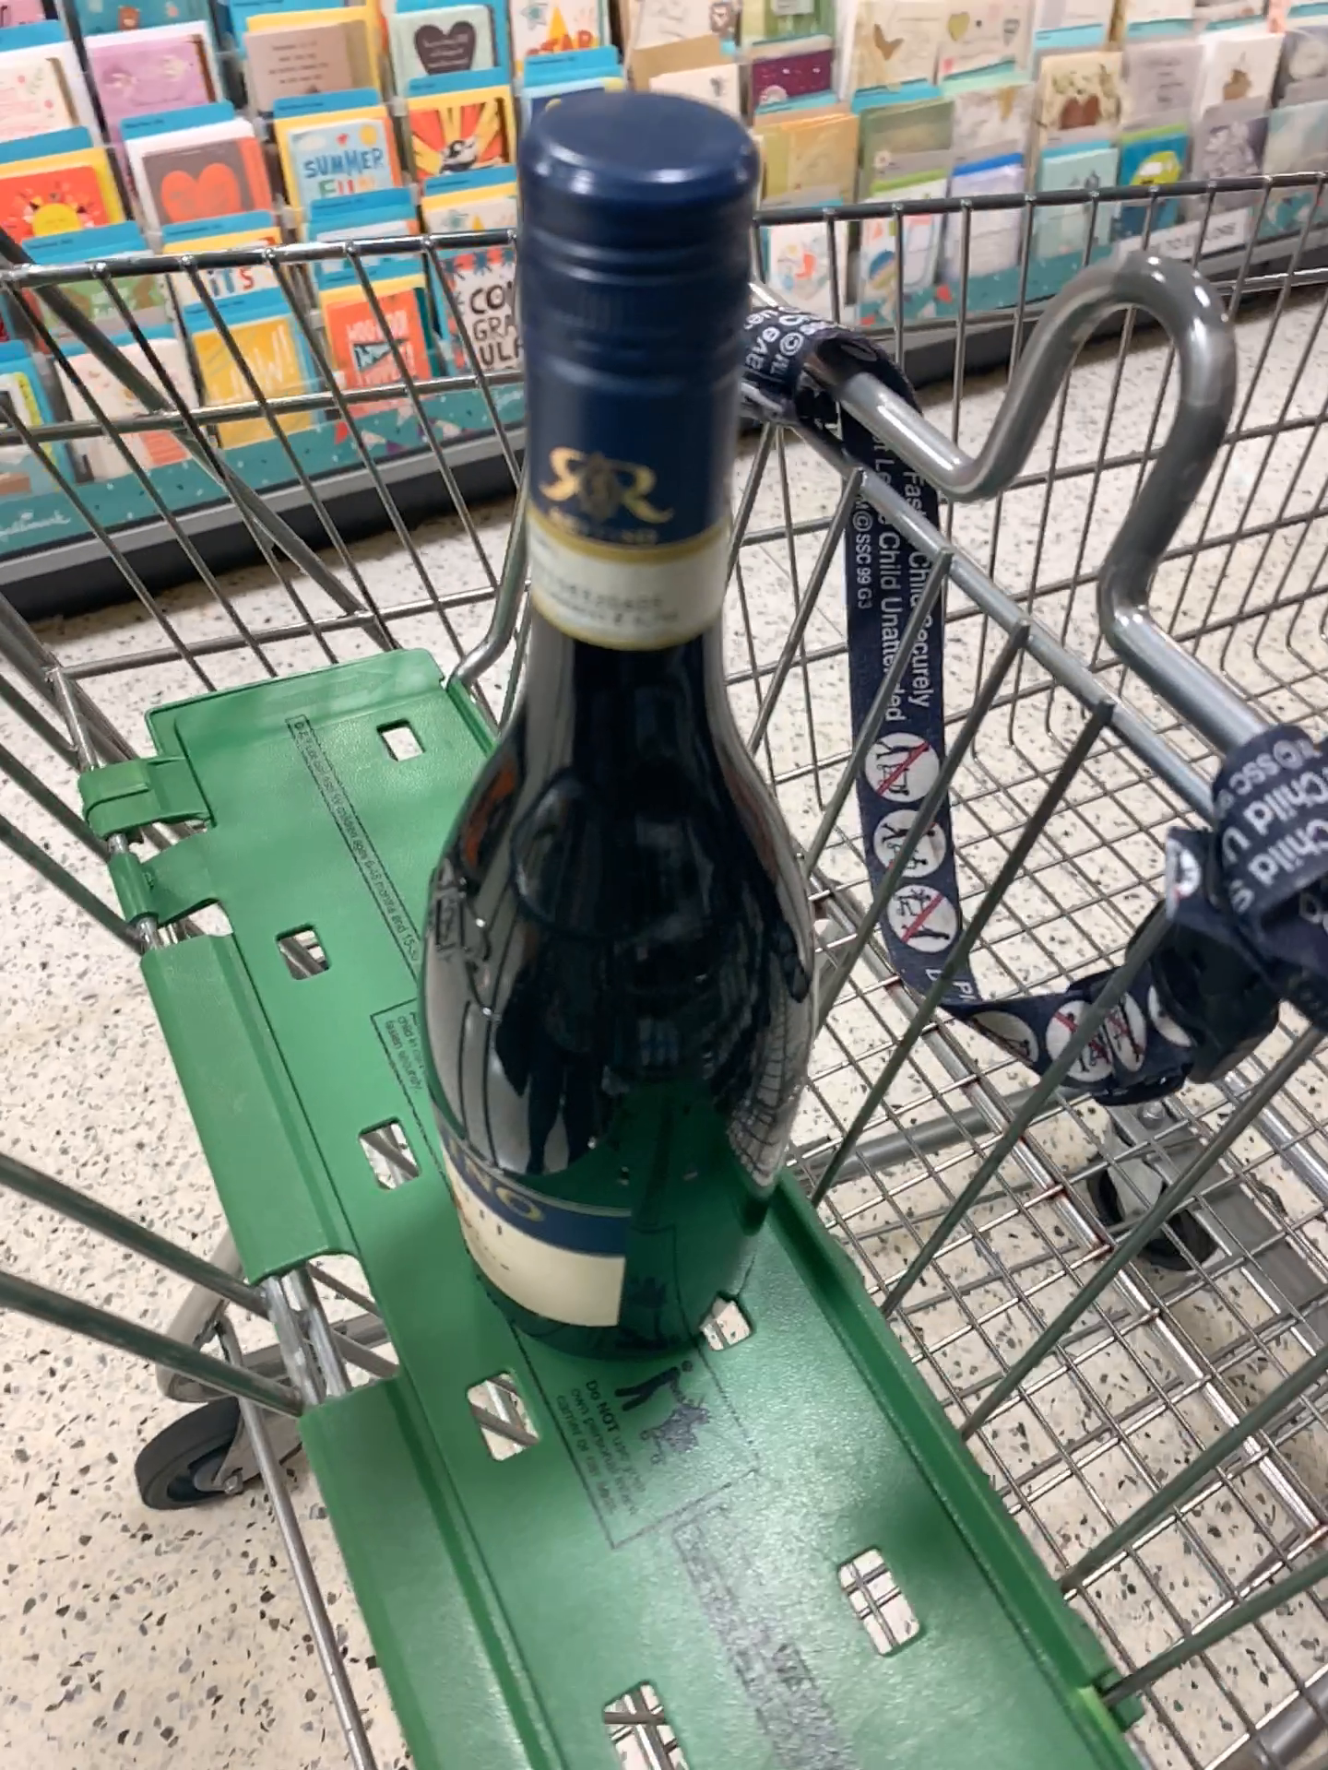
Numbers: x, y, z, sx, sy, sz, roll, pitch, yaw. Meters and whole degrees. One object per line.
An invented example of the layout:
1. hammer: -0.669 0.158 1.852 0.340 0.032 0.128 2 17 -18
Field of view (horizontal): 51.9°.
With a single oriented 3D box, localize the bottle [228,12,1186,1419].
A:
1. bottle: -0.004 -0.004 0.273 0.090 0.267 0.091 2 48 -2
